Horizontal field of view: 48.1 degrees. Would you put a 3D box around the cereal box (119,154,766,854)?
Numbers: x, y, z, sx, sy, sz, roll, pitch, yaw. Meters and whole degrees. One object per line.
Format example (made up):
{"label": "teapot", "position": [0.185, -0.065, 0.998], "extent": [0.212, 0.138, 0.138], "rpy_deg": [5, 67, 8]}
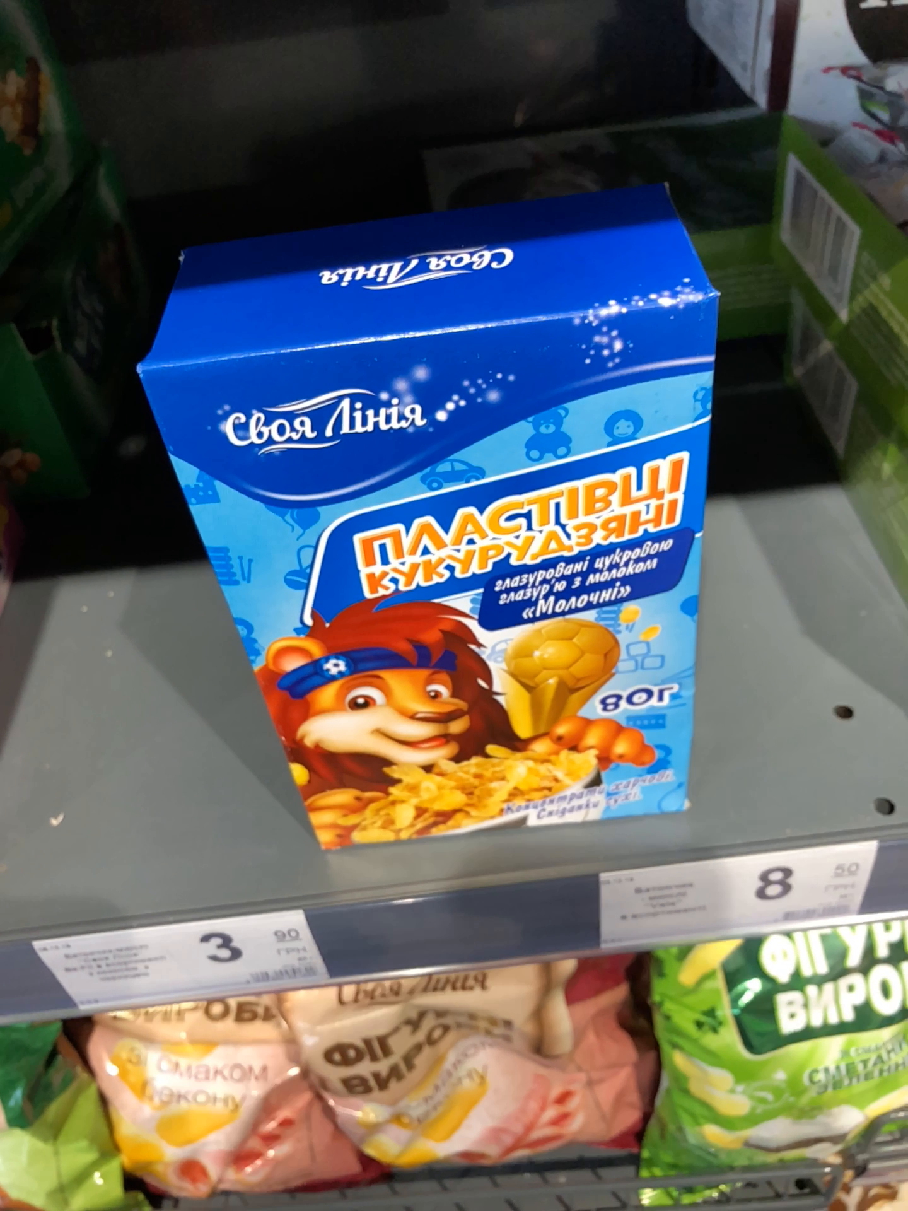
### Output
{"label": "cereal box", "position": [0.004, -0.013, 0.268], "extent": [0.120, 0.169, 0.060], "rpy_deg": [-7, 45, 1]}
